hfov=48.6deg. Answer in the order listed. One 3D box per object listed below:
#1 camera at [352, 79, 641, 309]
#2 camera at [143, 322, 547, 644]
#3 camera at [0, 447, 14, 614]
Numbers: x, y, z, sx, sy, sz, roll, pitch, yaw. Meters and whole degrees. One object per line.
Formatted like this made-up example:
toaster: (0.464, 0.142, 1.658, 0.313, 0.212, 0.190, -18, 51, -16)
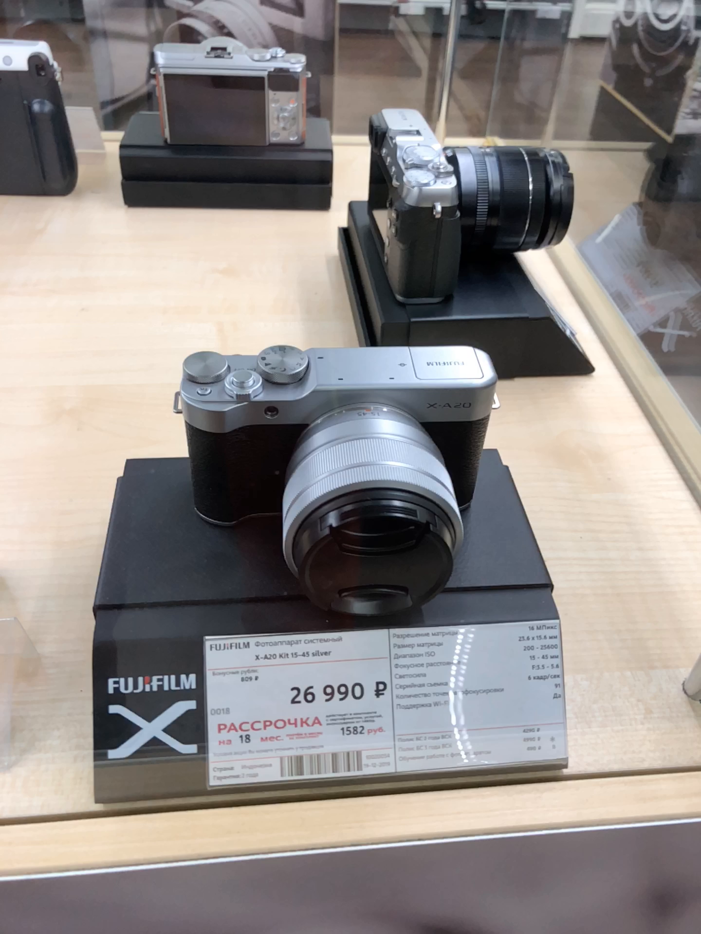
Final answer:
camera: (0.078, -0.184, 0.504, 0.130, 0.074, 0.188, -3, 41, -7)
camera: (-0.006, 0.002, 0.286, 0.120, 0.070, 0.093, -2, 41, -6)
camera: (-0.200, 0.026, 0.311, 0.106, 0.064, 0.025, -2, 41, -6)
